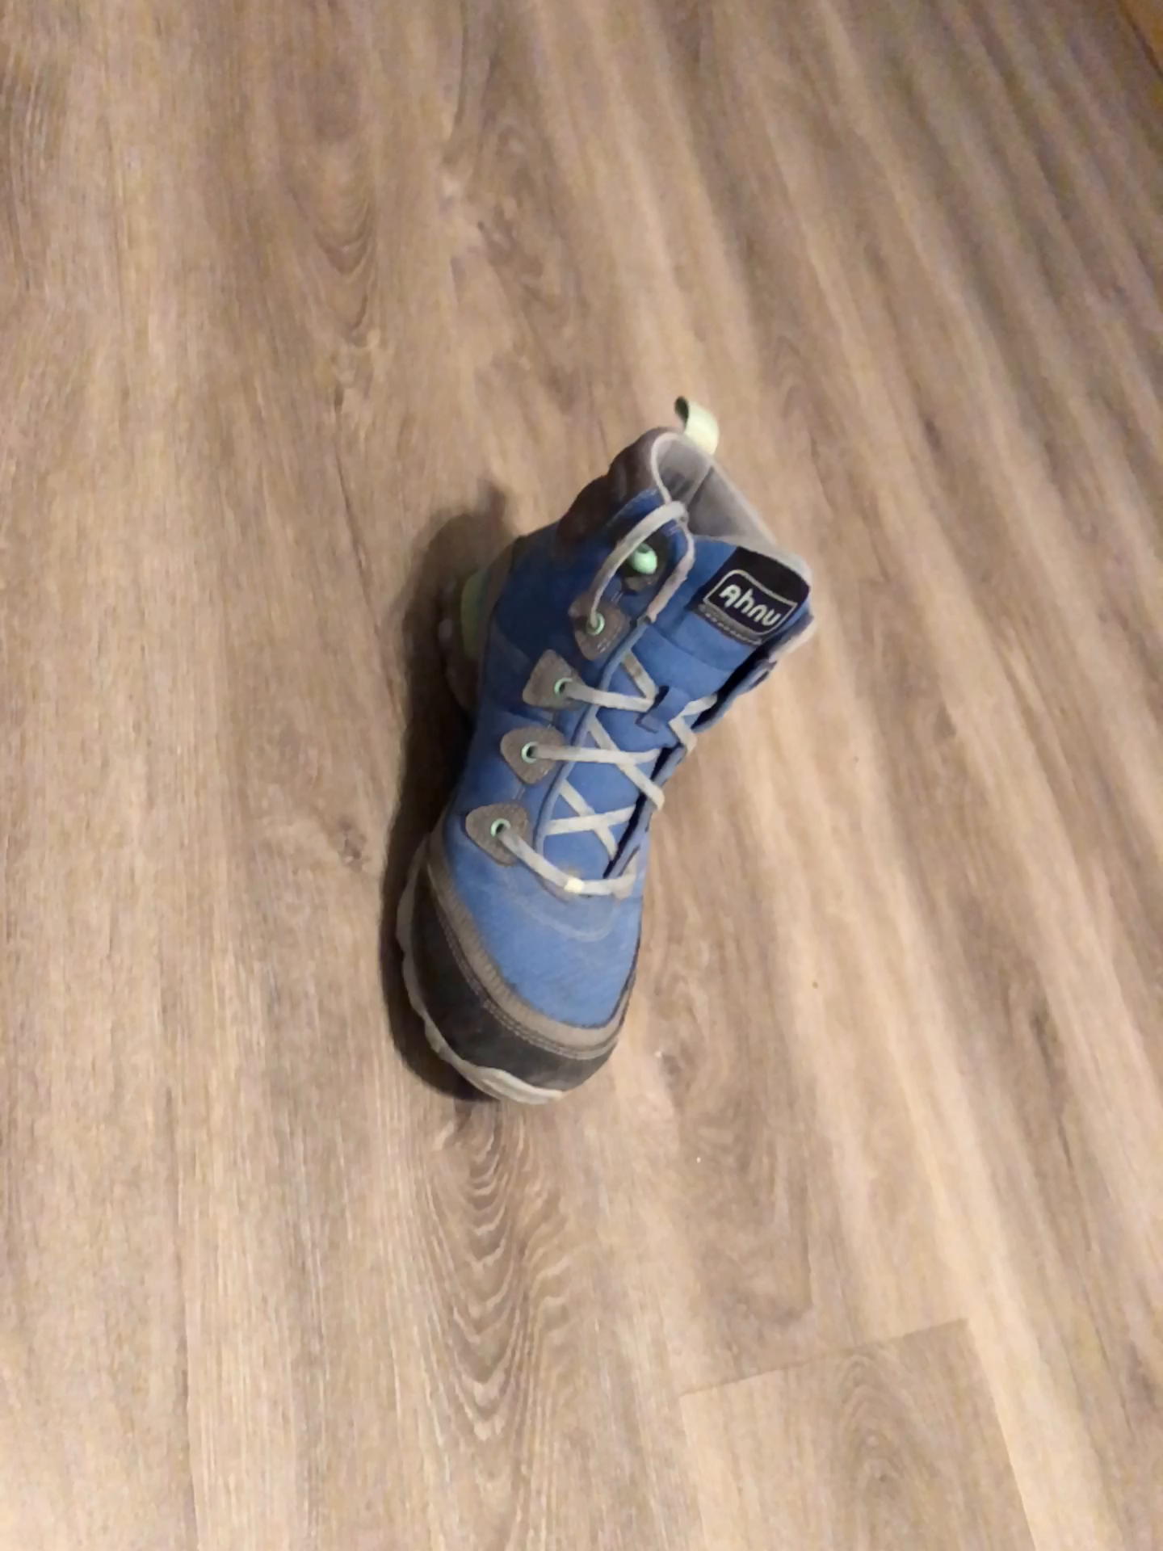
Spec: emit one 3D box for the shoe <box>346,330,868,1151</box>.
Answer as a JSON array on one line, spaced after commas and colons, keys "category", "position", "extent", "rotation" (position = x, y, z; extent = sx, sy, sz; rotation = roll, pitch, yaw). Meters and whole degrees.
[{"category": "shoe", "position": [0.006, -0.012, 0.477], "extent": [0.100, 0.139, 0.250], "rotation": [23, 51, -30]}]
